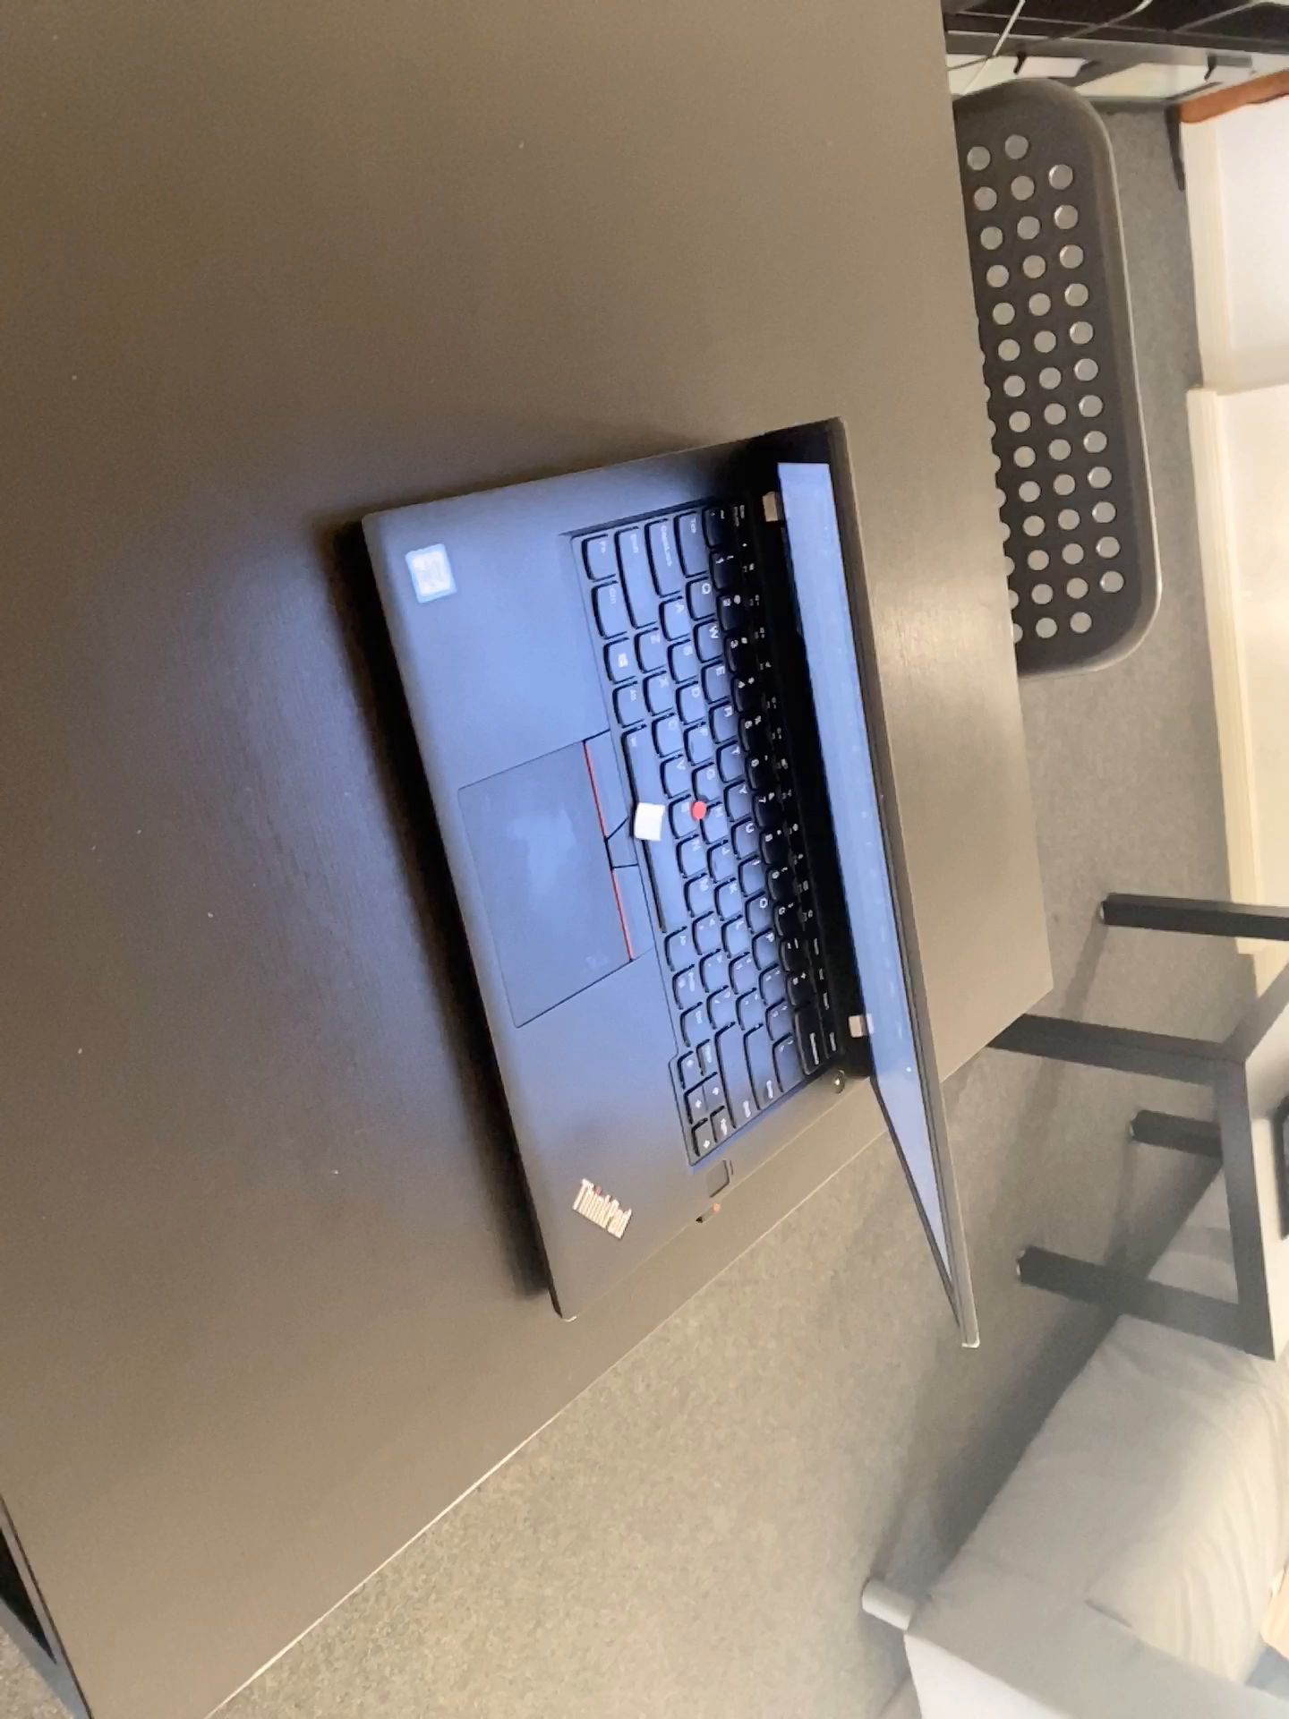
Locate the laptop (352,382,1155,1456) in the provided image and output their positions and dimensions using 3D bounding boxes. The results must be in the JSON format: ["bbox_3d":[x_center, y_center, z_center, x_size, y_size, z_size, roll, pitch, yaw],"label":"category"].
[{"bbox_3d":[0.061,0.006,0.487,0.216,0.138,0.299,-28,114,-41],"label":"laptop"}]
